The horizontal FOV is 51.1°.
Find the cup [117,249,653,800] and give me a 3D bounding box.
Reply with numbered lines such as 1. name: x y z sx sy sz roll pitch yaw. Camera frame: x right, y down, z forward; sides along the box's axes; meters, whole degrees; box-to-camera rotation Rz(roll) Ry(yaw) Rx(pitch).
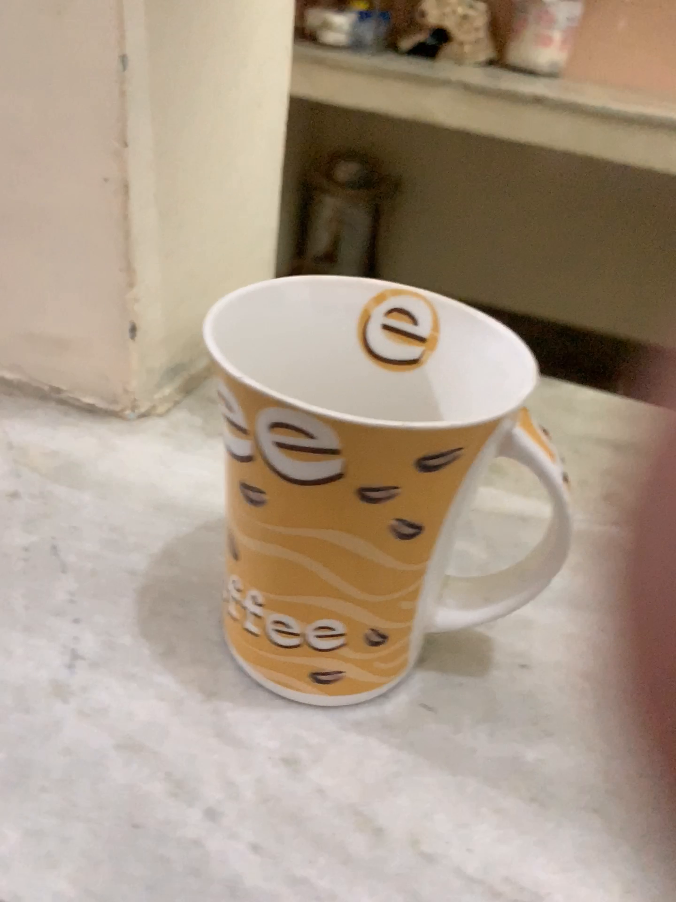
1. cup: 0.008 0.015 0.189 0.100 0.100 0.080 12 32 5
